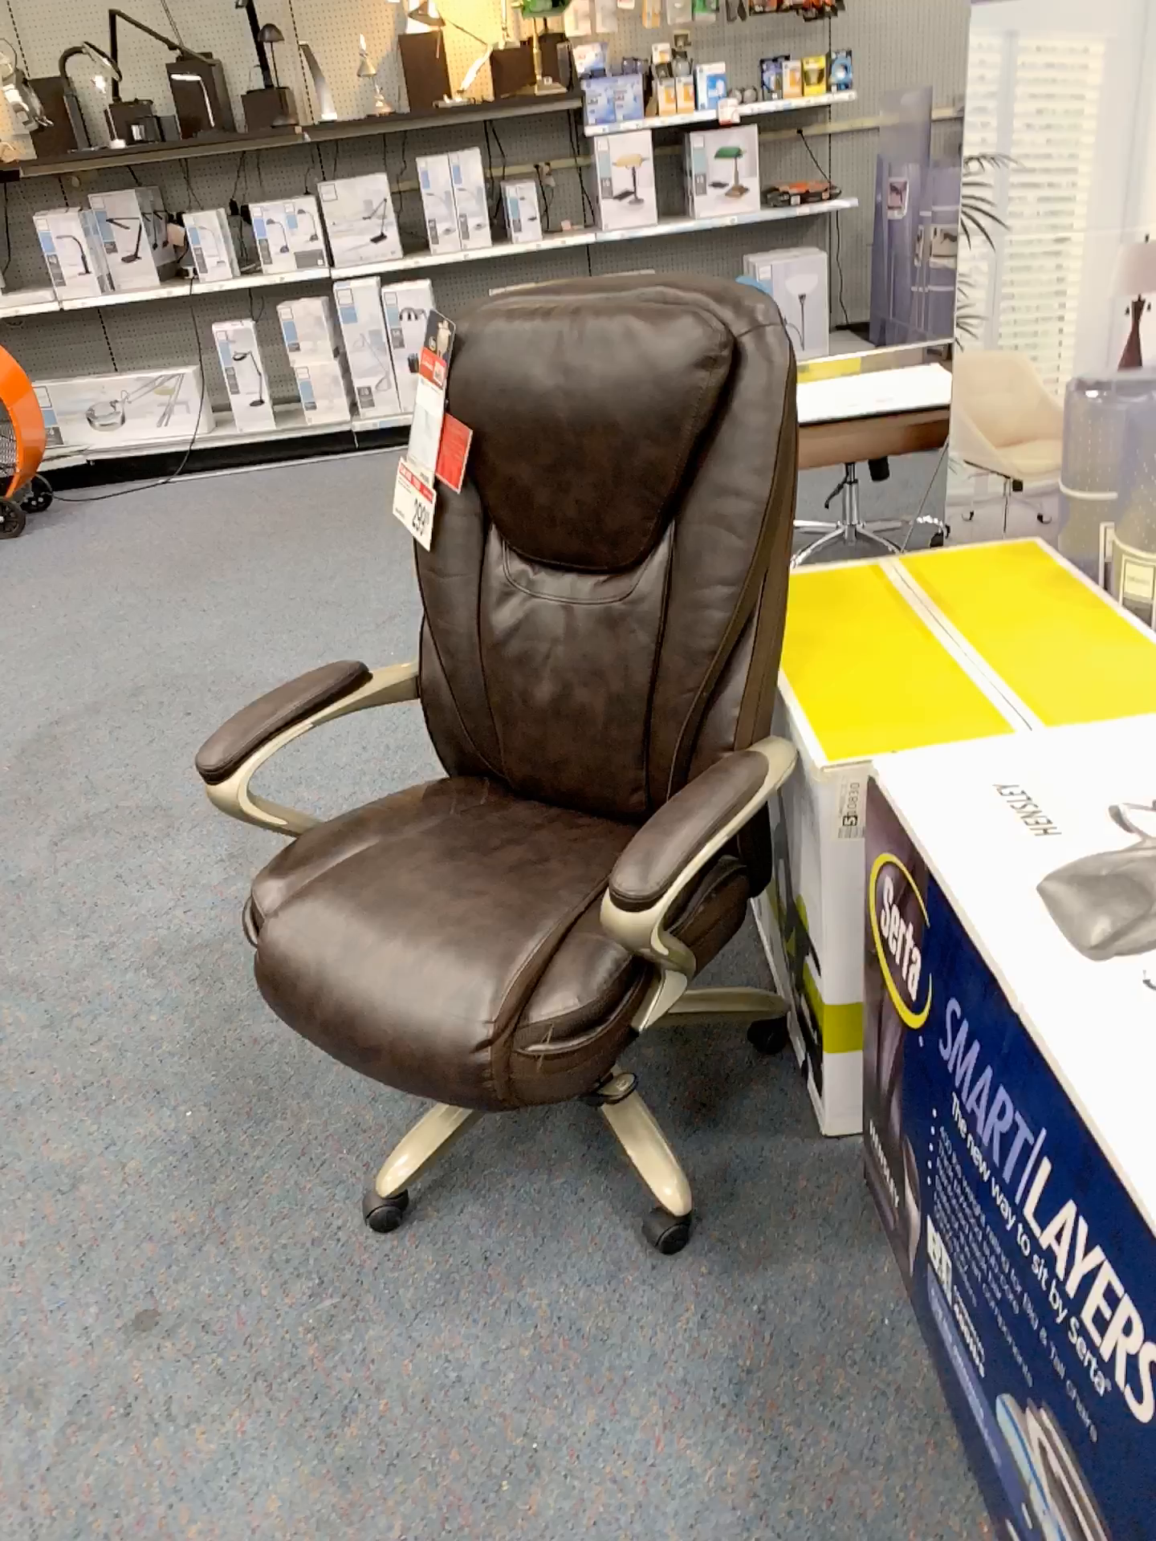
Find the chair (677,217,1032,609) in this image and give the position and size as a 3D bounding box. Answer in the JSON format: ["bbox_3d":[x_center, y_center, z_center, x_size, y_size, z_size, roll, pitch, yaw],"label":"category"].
[{"bbox_3d":[0.747,-1.058,3.426,0.824,0.855,0.795,-4,30,5],"label":"chair"}]

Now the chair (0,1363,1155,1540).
[{"bbox_3d":[0.156,0.788,0.236,0.754,0.994,0.705,-6,30,2],"label":"chair"}]

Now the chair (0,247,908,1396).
[{"bbox_3d":[-0.114,-0.028,1.598,0.784,1.104,0.846,17,38,35],"label":"chair"}]
